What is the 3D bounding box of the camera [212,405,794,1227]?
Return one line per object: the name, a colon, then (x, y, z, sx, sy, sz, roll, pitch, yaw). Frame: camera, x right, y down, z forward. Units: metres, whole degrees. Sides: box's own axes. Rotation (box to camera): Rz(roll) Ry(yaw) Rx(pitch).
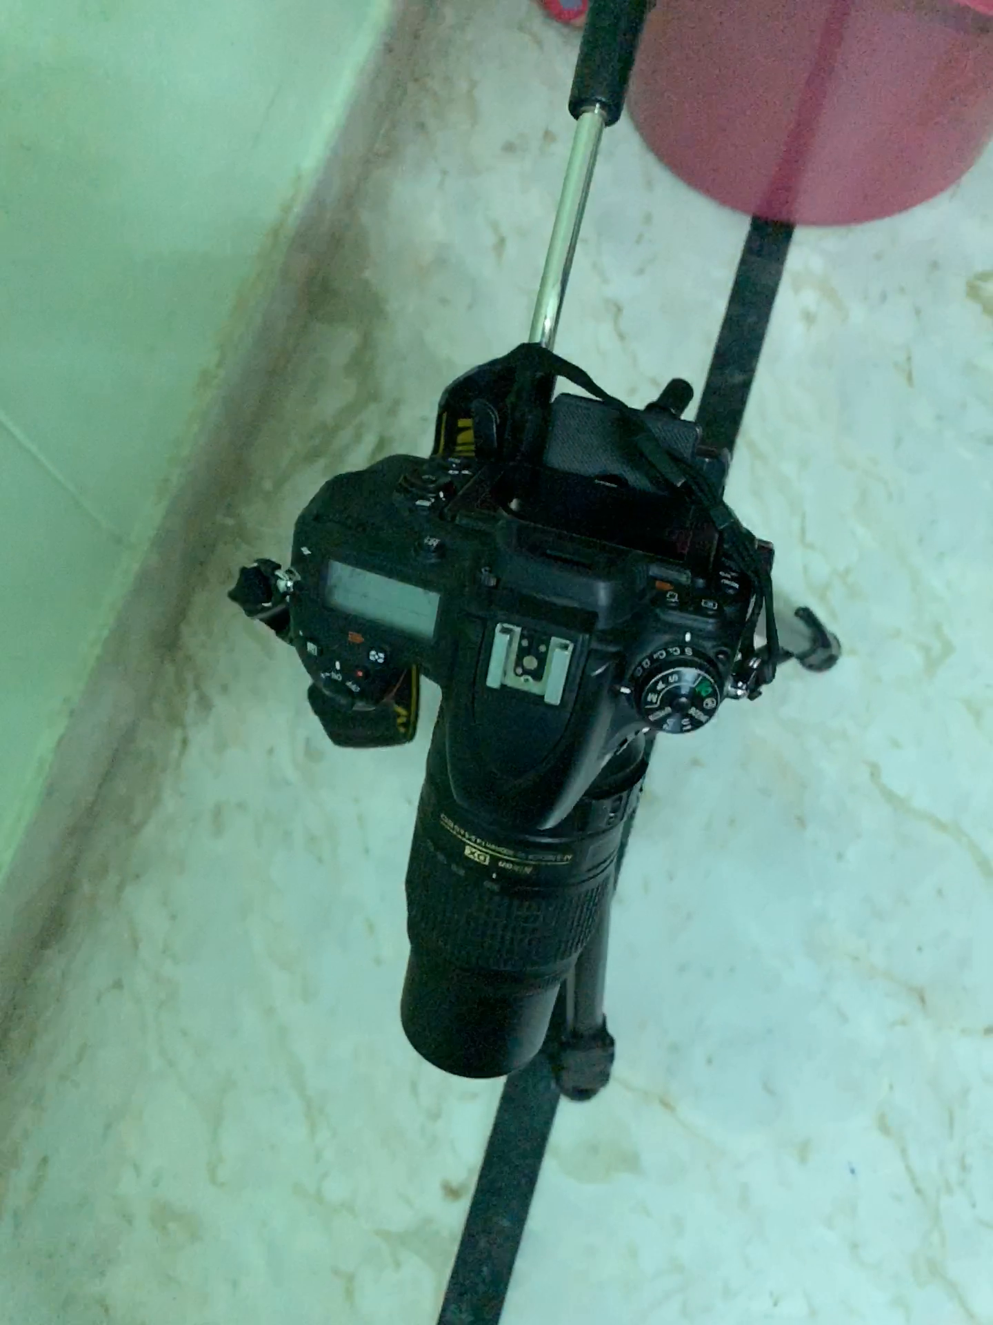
camera: (-0.001, 0.048, 0.340, 0.130, 0.214, 0.116, 17, 30, 8)
